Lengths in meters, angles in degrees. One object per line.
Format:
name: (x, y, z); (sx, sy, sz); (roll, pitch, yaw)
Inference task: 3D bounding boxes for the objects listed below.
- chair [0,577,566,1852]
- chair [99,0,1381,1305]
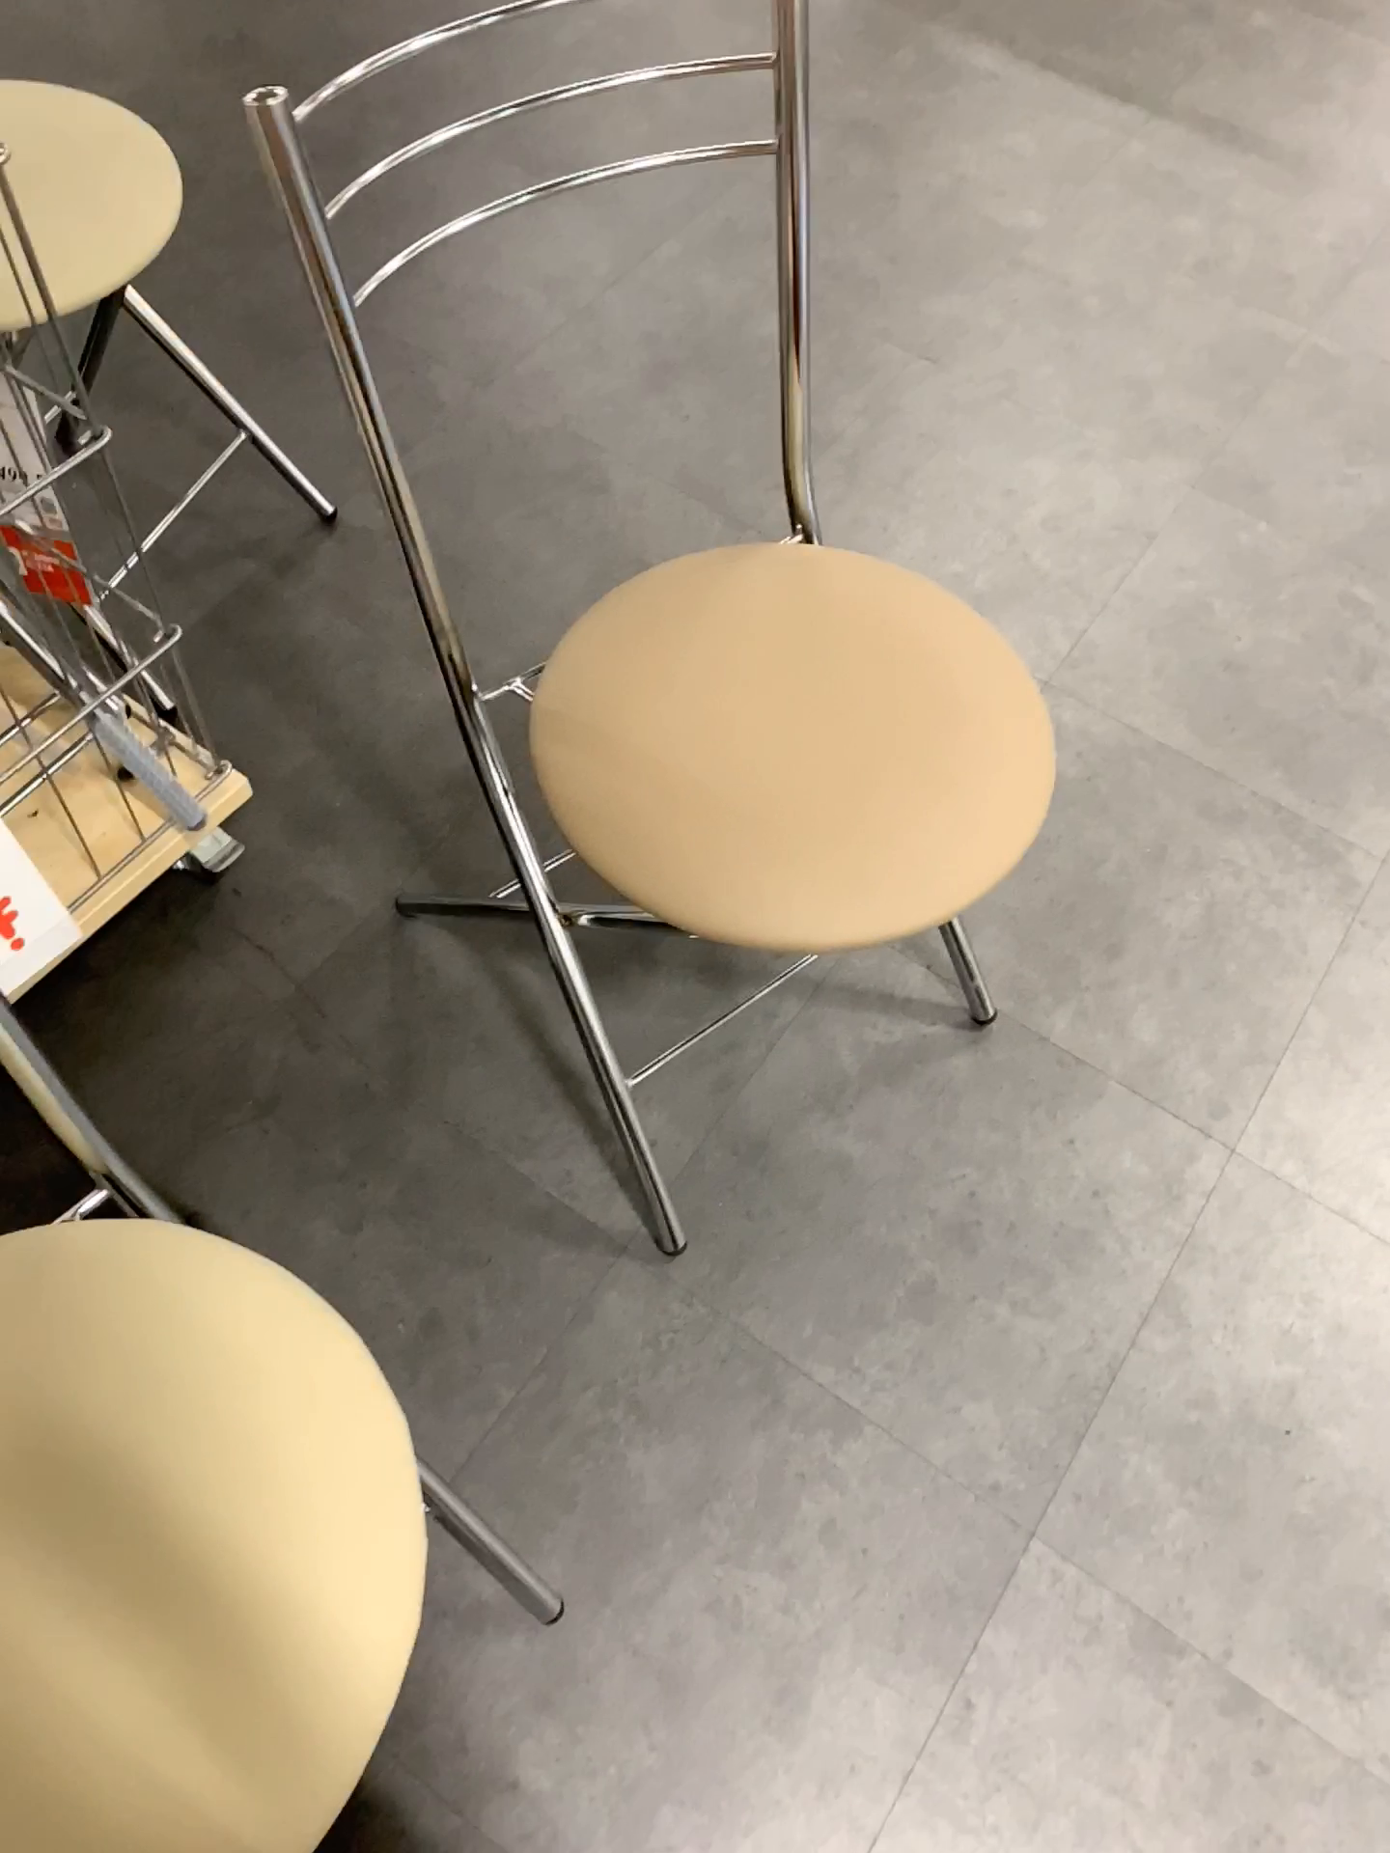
chair: (-0.433, 0.361, 0.739); (0.491, 0.777, 0.521); (36, 63, 17)
chair: (-0.004, -0.157, 1.063); (0.441, 0.797, 0.491); (-34, 67, -21)
